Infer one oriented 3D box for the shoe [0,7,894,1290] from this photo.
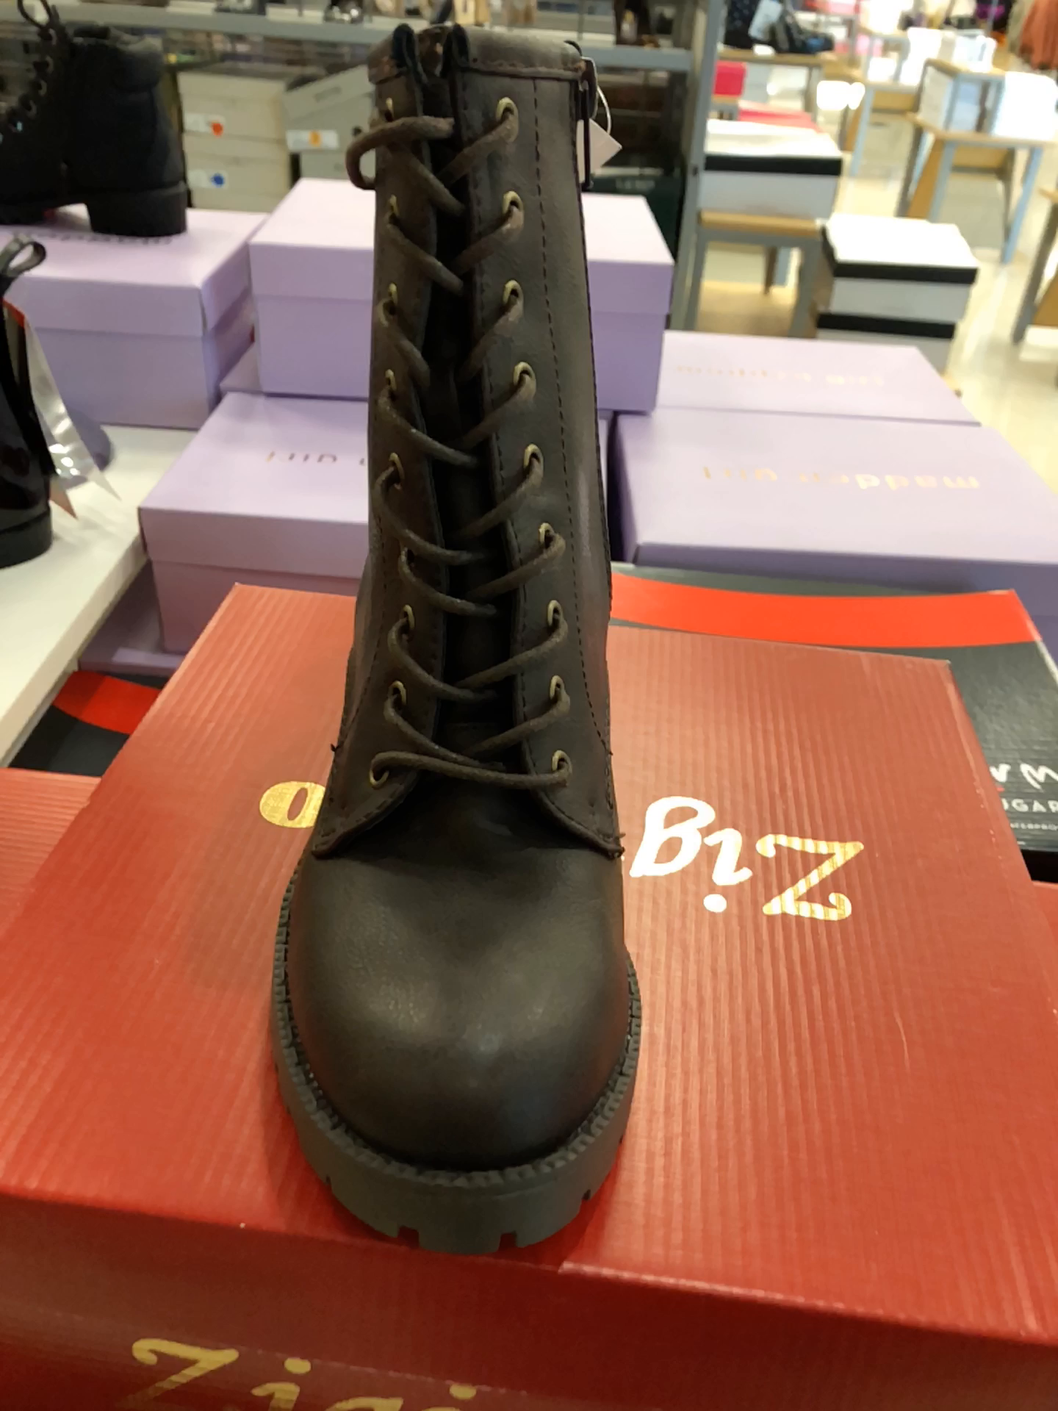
[{"bbox_3d":[-0.016,-0.036,0.290,0.100,0.218,0.242,3,33,-2],"label":"shoe"}]
